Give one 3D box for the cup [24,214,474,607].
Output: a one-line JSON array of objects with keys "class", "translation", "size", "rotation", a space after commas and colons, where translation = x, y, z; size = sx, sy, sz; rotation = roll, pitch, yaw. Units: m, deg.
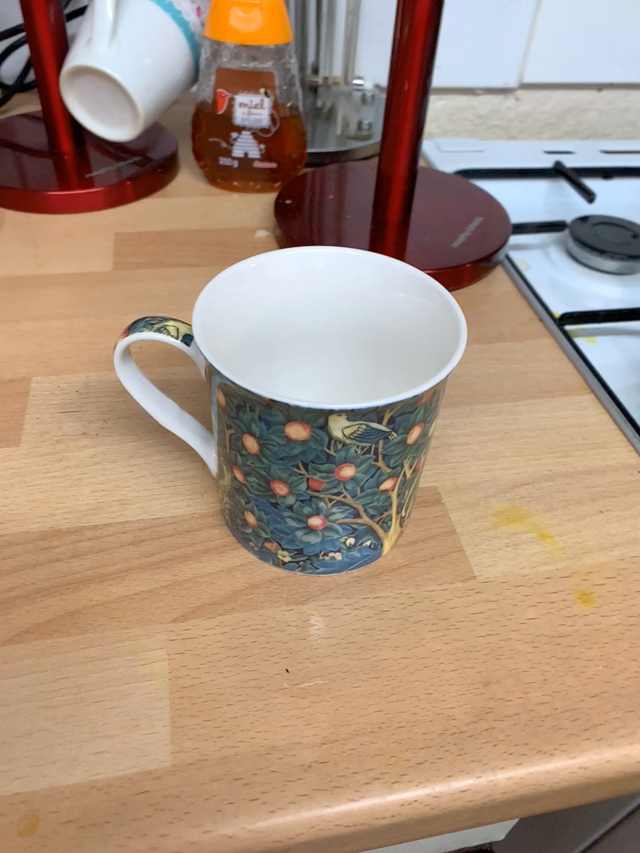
[{"class": "cup", "translation": [-0.017, -0.007, 0.238], "size": [0.120, 0.089, 0.091], "rotation": [7, 44, 2]}]
